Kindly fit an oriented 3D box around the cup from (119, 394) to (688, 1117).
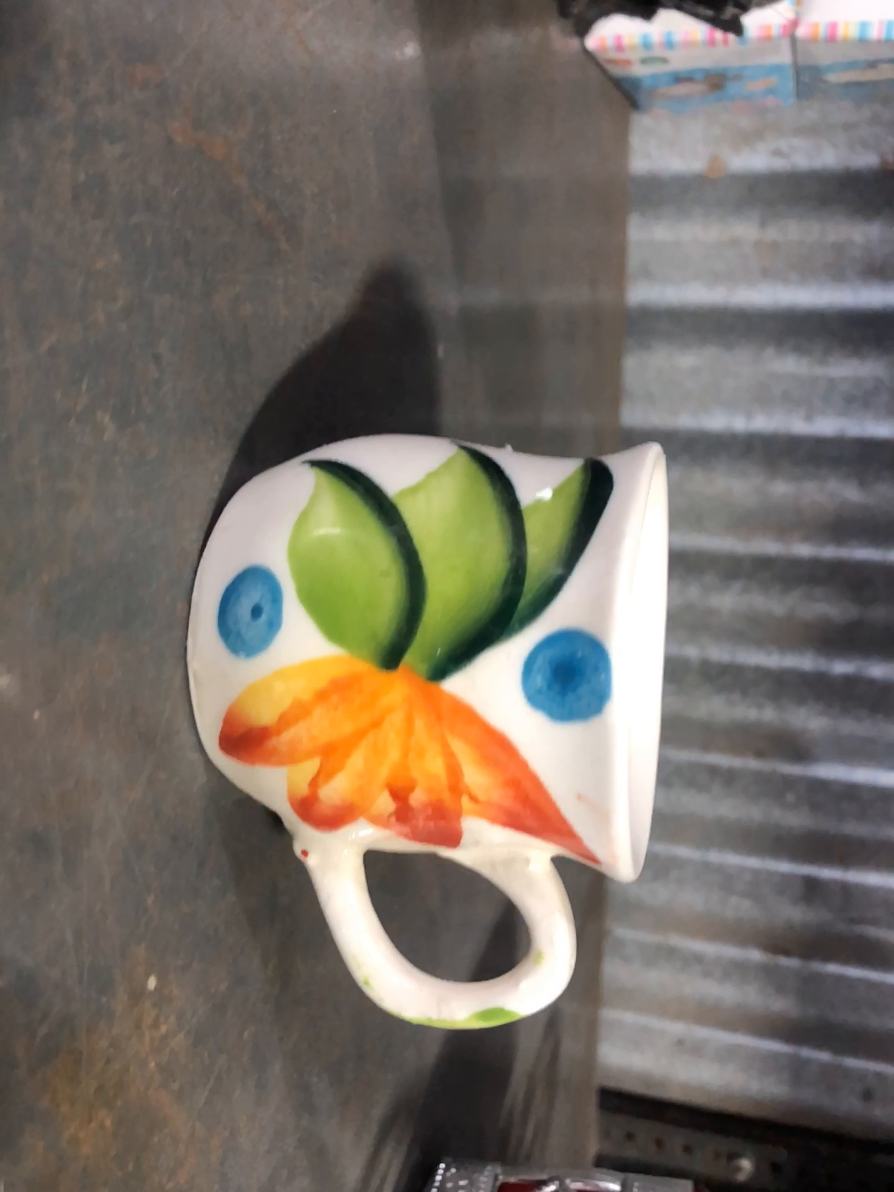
[{"bbox_3d":[0.001,0.021,0.171,0.070,0.070,0.090,22,73,-75],"label":"cup"}]
